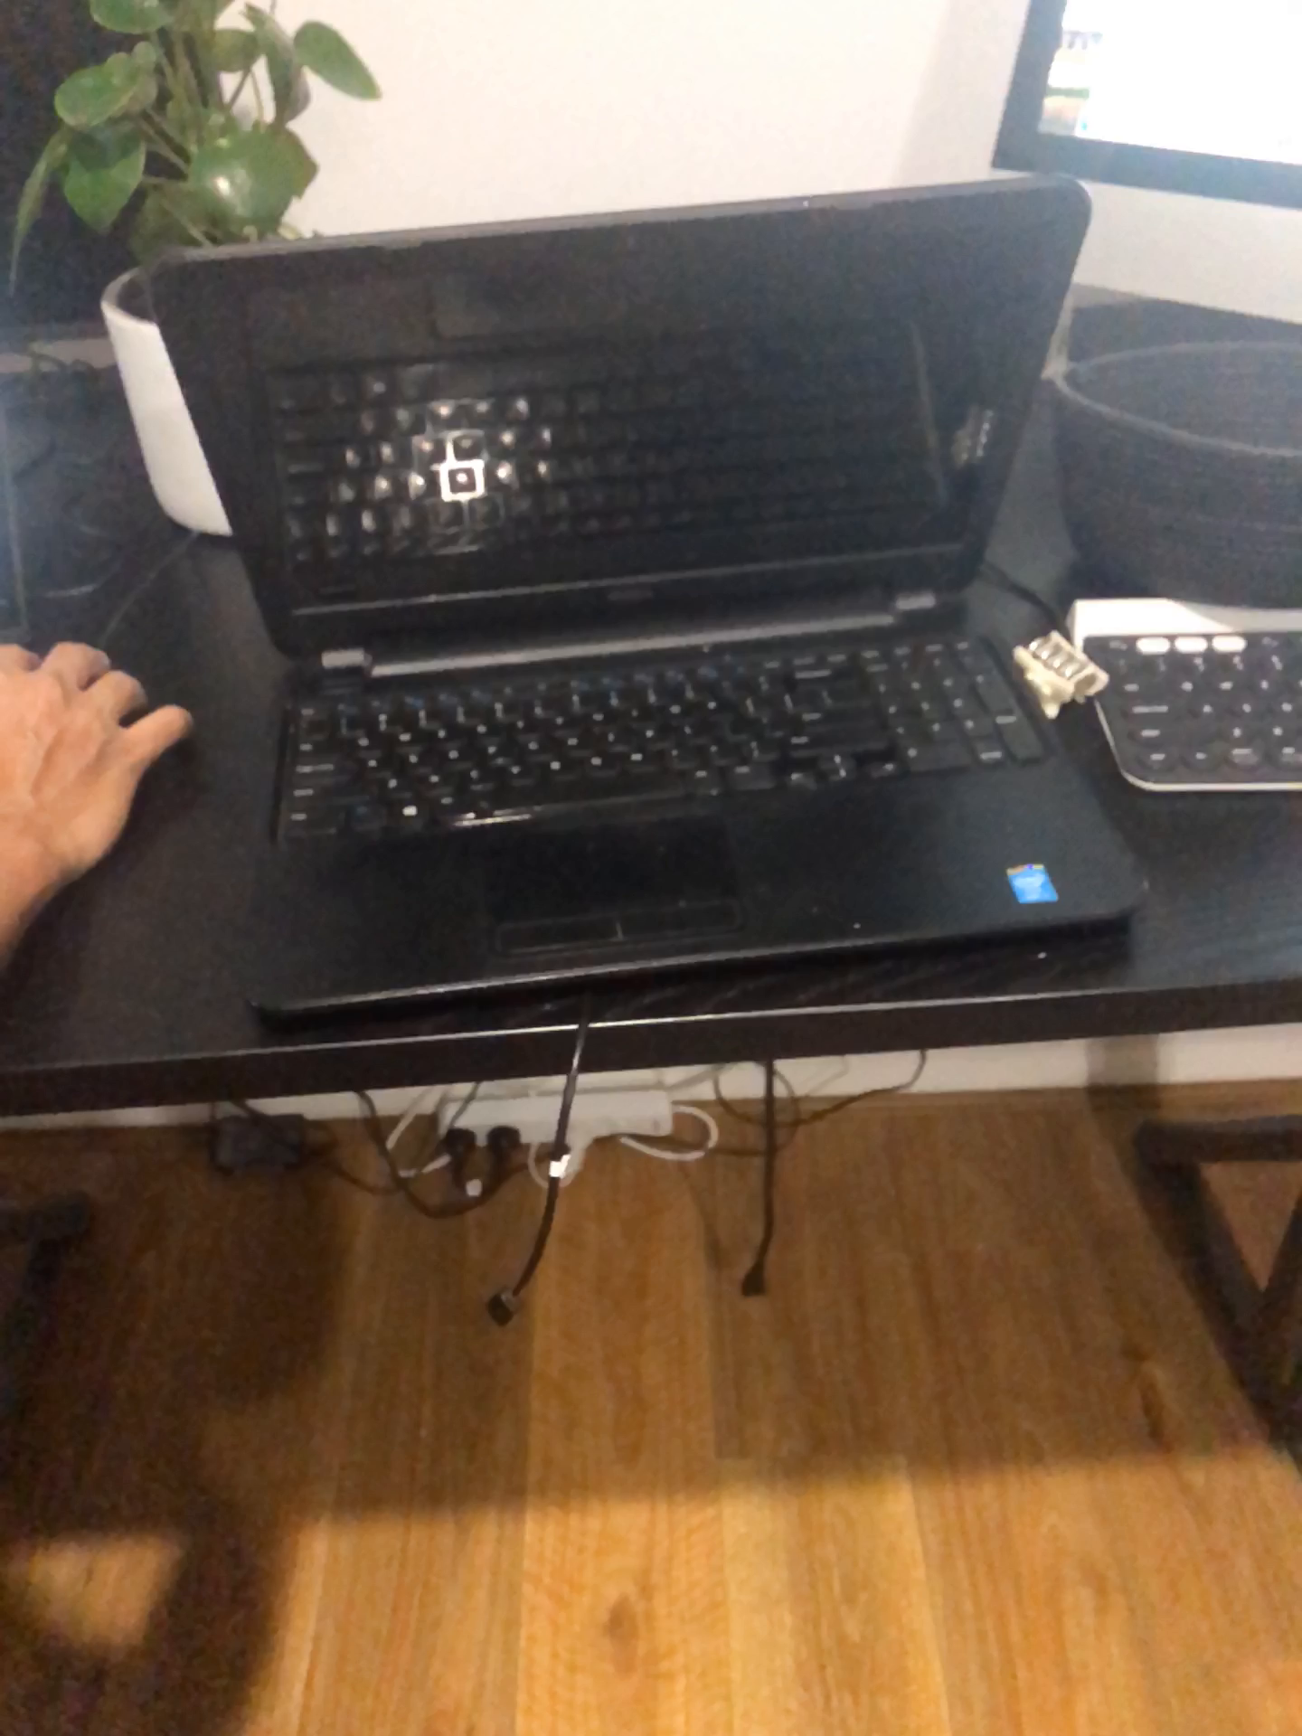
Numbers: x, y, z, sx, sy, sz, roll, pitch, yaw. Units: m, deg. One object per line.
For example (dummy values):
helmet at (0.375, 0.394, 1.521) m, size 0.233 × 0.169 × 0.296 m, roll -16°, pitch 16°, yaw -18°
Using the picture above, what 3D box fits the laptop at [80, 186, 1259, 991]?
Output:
laptop at (-0.004, -0.118, 0.586) m, size 0.366 × 0.210 × 0.207 m, roll -5°, pitch 41°, yaw -3°
